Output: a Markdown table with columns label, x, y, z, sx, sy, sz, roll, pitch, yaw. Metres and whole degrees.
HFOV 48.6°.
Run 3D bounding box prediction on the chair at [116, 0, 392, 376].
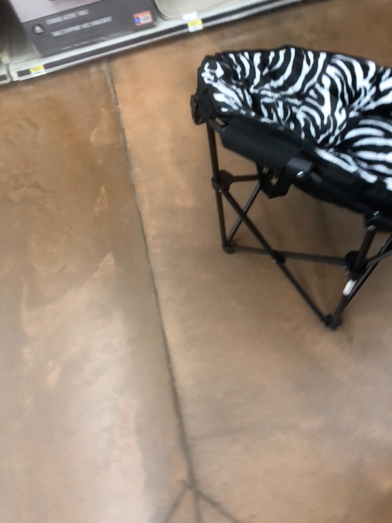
| label | x | y | z | sx | sy | sz | roll | pitch | yaw |
| --- | --- | --- | --- | --- | --- | --- | --- | --- | --- |
| chair | 0.323 | -0.243 | 0.978 | 0.611 | 0.599 | 0.600 | 36 | 73 | 24 |
